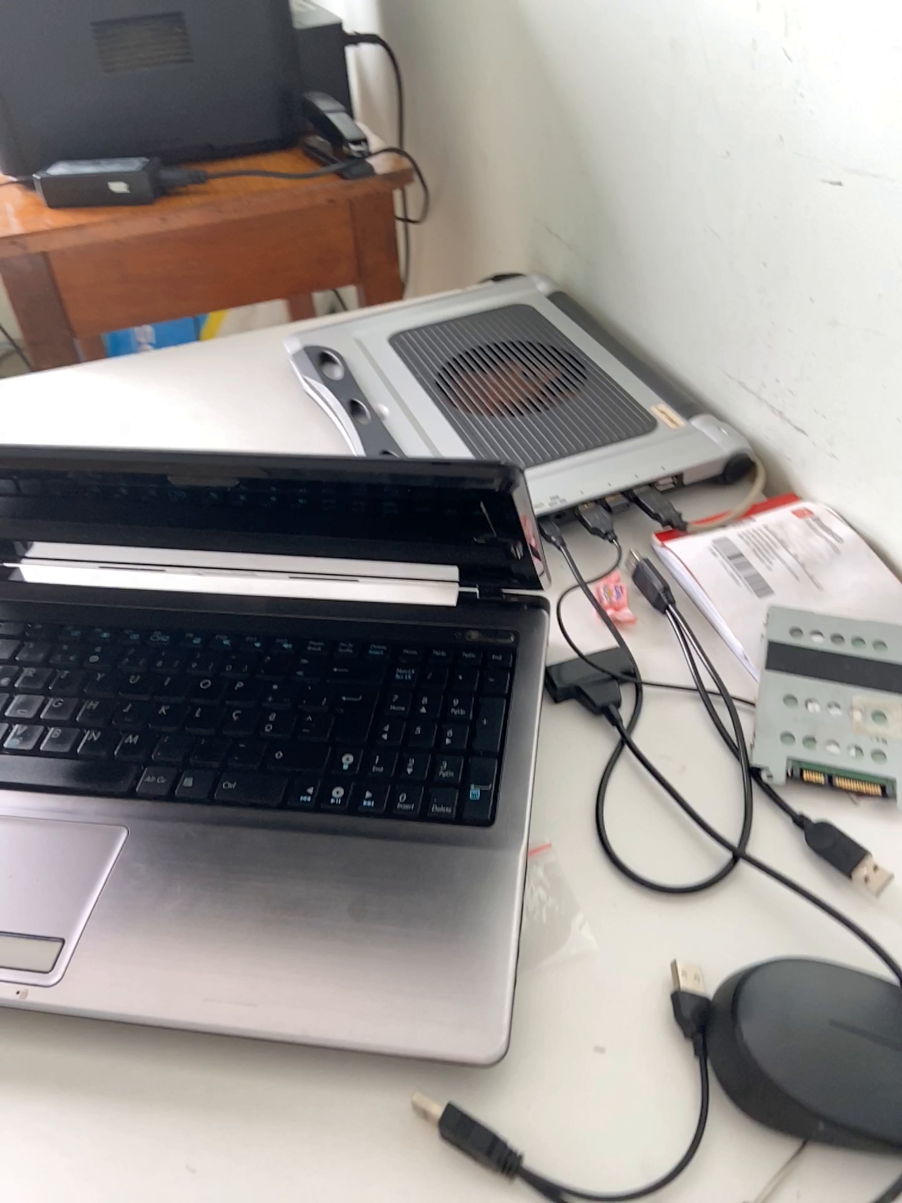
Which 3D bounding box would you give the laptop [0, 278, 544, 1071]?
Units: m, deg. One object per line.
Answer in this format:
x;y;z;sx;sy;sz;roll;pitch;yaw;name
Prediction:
-0.159;0.005;0.392;0.376;0.182;0.247;3;42;9;laptop
